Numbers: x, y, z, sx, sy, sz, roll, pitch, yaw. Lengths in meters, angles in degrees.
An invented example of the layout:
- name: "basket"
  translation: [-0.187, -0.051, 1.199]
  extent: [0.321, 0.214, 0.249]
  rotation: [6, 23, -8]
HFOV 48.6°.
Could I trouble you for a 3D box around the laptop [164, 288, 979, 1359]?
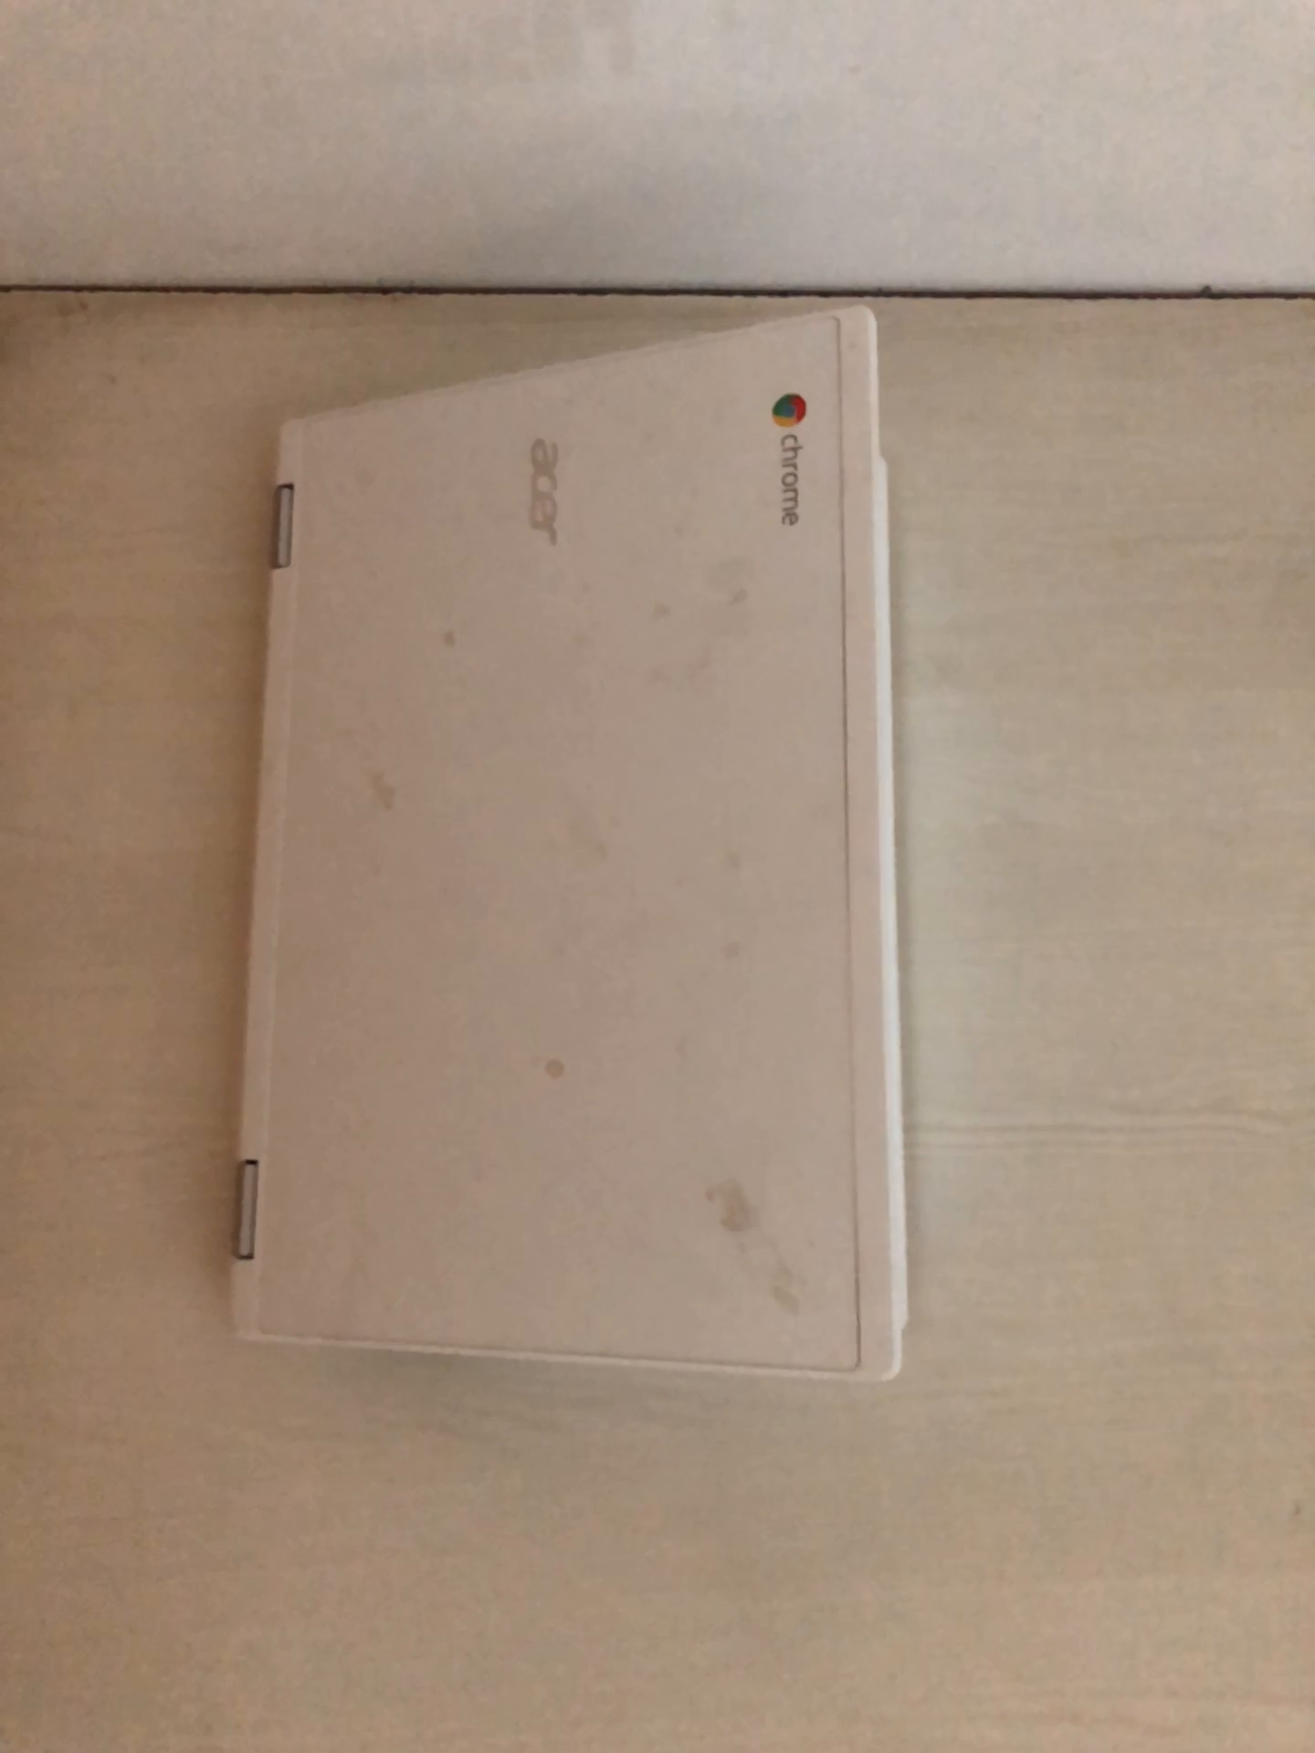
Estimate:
- name: "laptop"
  translation: [-0.021, -0.013, 0.427]
  extent: [0.200, 0.093, 0.283]
  rotation: [1, 80, -1]
